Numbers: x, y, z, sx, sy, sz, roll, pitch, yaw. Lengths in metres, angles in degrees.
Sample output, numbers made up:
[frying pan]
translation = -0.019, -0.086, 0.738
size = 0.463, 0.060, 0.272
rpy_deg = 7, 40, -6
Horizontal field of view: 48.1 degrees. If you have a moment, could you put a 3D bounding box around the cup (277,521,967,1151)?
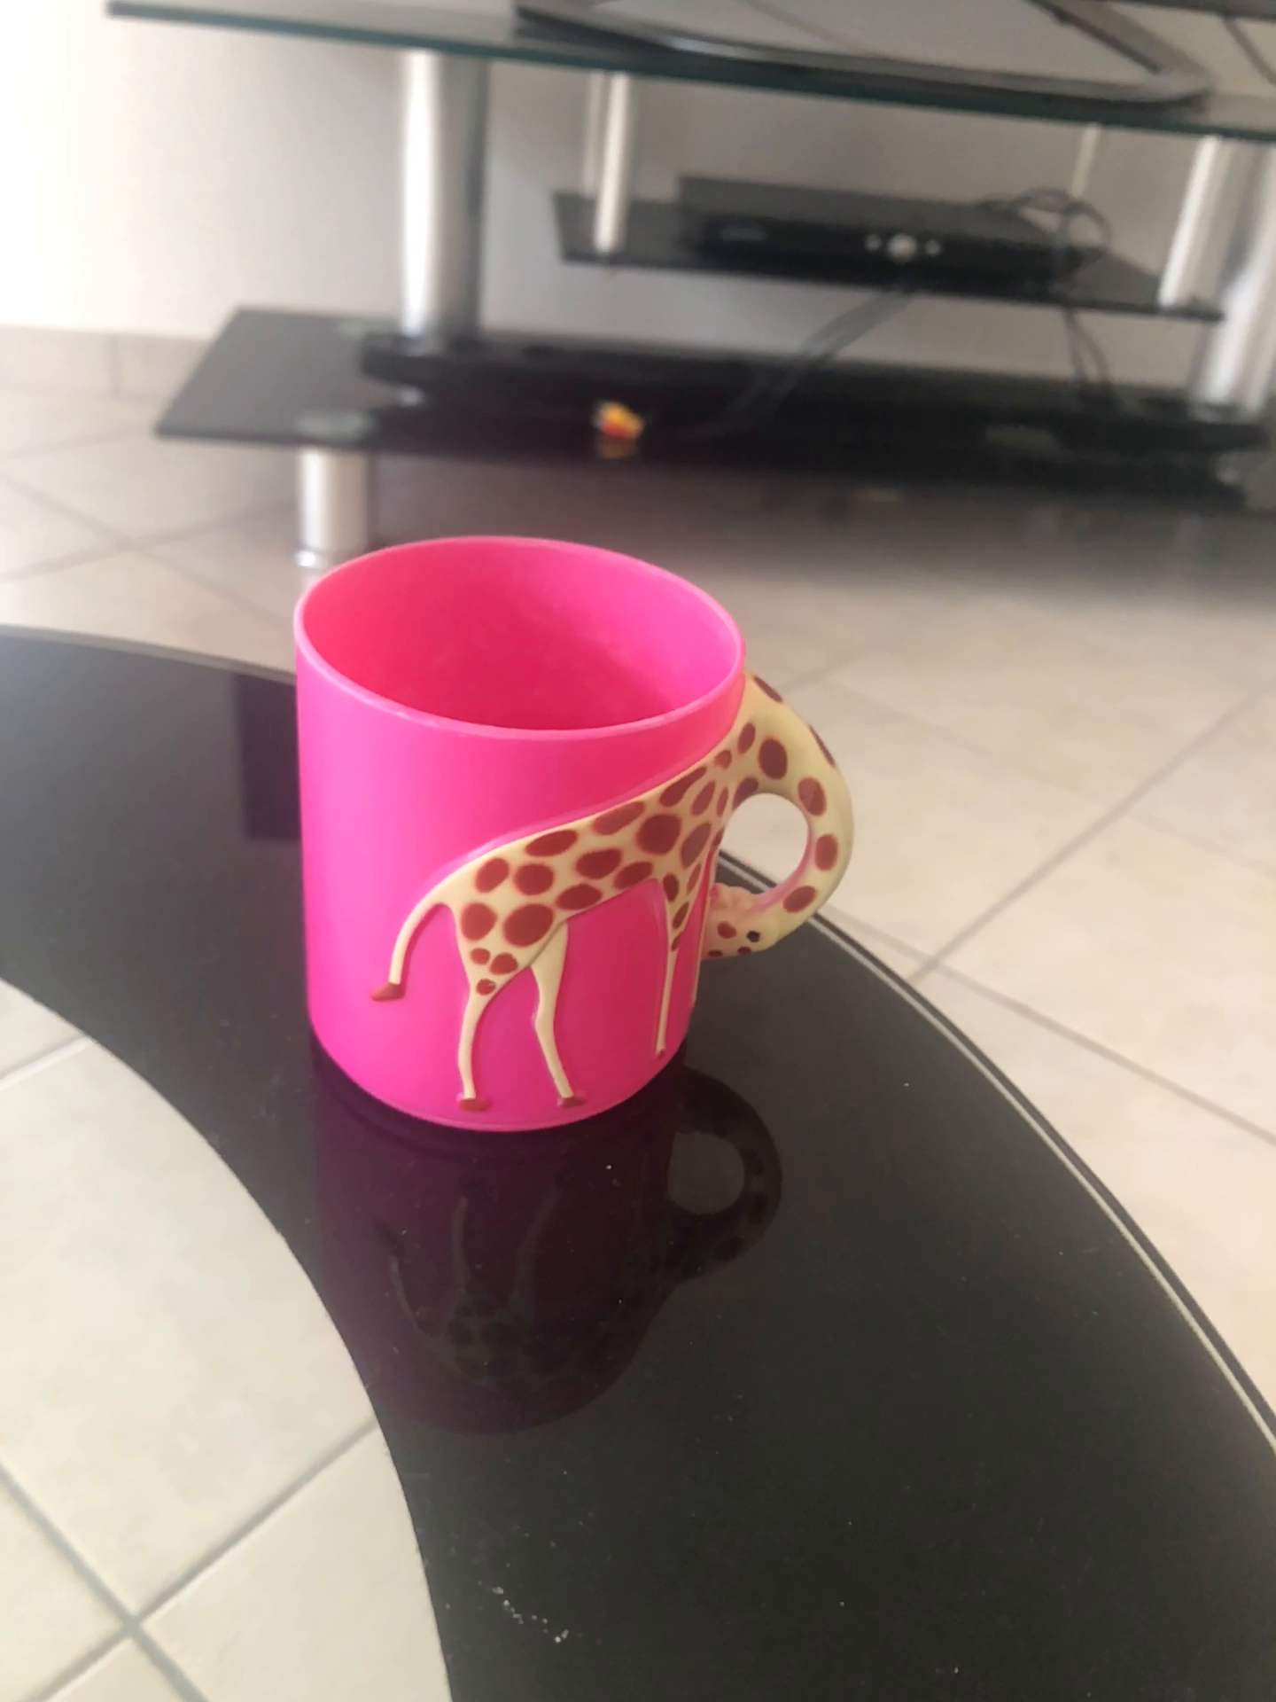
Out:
[cup]
translation = -0.010, -0.006, 0.230
size = 0.090, 0.070, 0.070
rpy_deg = -2, 33, -14
